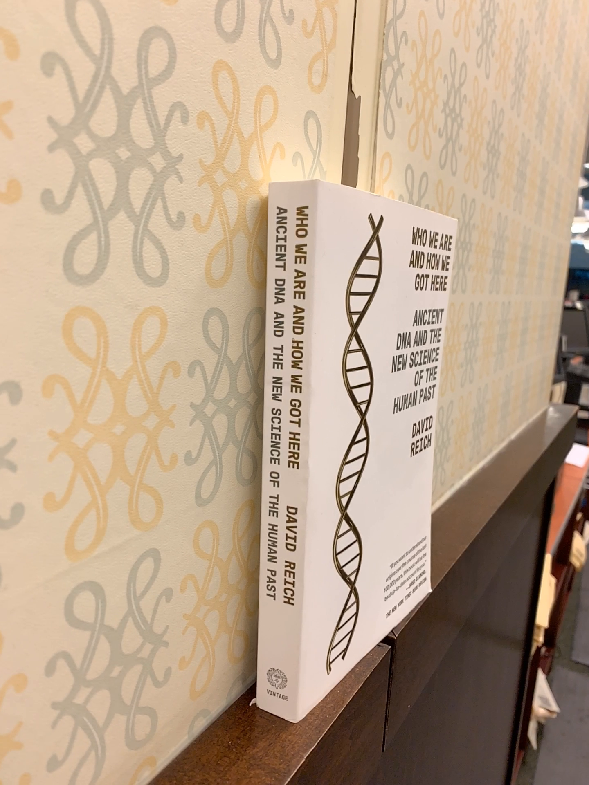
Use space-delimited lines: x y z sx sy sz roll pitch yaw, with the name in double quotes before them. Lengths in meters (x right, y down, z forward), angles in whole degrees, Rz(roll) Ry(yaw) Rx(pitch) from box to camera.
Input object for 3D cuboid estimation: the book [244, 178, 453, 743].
"book" 0.030 0.019 0.274 0.041 0.199 0.127 6 10 25
